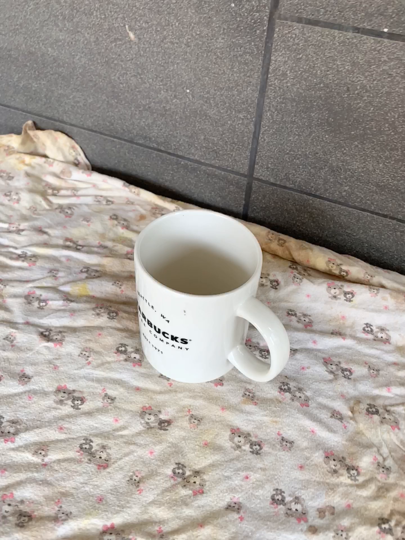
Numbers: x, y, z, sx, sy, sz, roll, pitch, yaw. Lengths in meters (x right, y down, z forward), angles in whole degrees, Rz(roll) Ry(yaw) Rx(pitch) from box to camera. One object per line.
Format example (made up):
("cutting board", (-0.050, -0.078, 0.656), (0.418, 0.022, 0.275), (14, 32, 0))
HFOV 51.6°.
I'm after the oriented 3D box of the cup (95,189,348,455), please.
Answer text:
("cup", (0.009, 0.032, 0.300), (0.130, 0.110, 0.090), (32, 52, 26))
